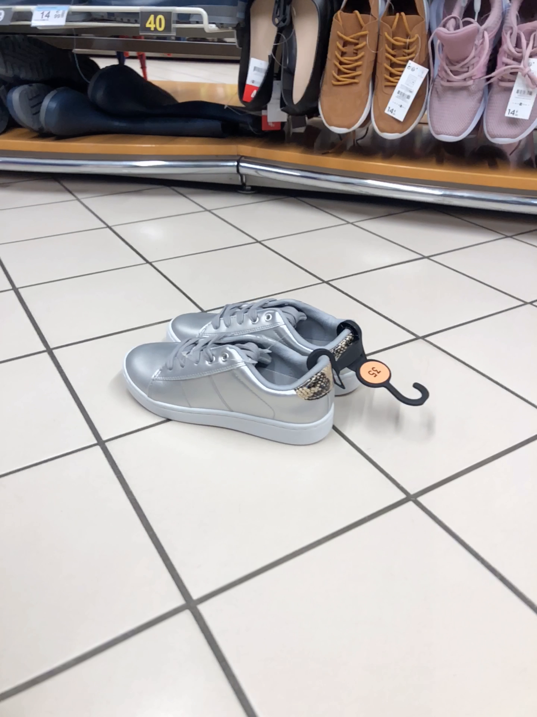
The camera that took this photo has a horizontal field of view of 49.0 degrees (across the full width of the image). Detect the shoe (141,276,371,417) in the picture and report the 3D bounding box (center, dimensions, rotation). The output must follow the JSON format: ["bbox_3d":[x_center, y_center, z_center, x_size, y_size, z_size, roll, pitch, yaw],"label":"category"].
[{"bbox_3d":[-0.012,-0.019,0.655,0.230,0.089,0.091,10,32,15],"label":"shoe"}]

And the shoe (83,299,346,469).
[{"bbox_3d":[-0.051,0.018,0.578,0.230,0.089,0.091,11,32,17],"label":"shoe"}]
